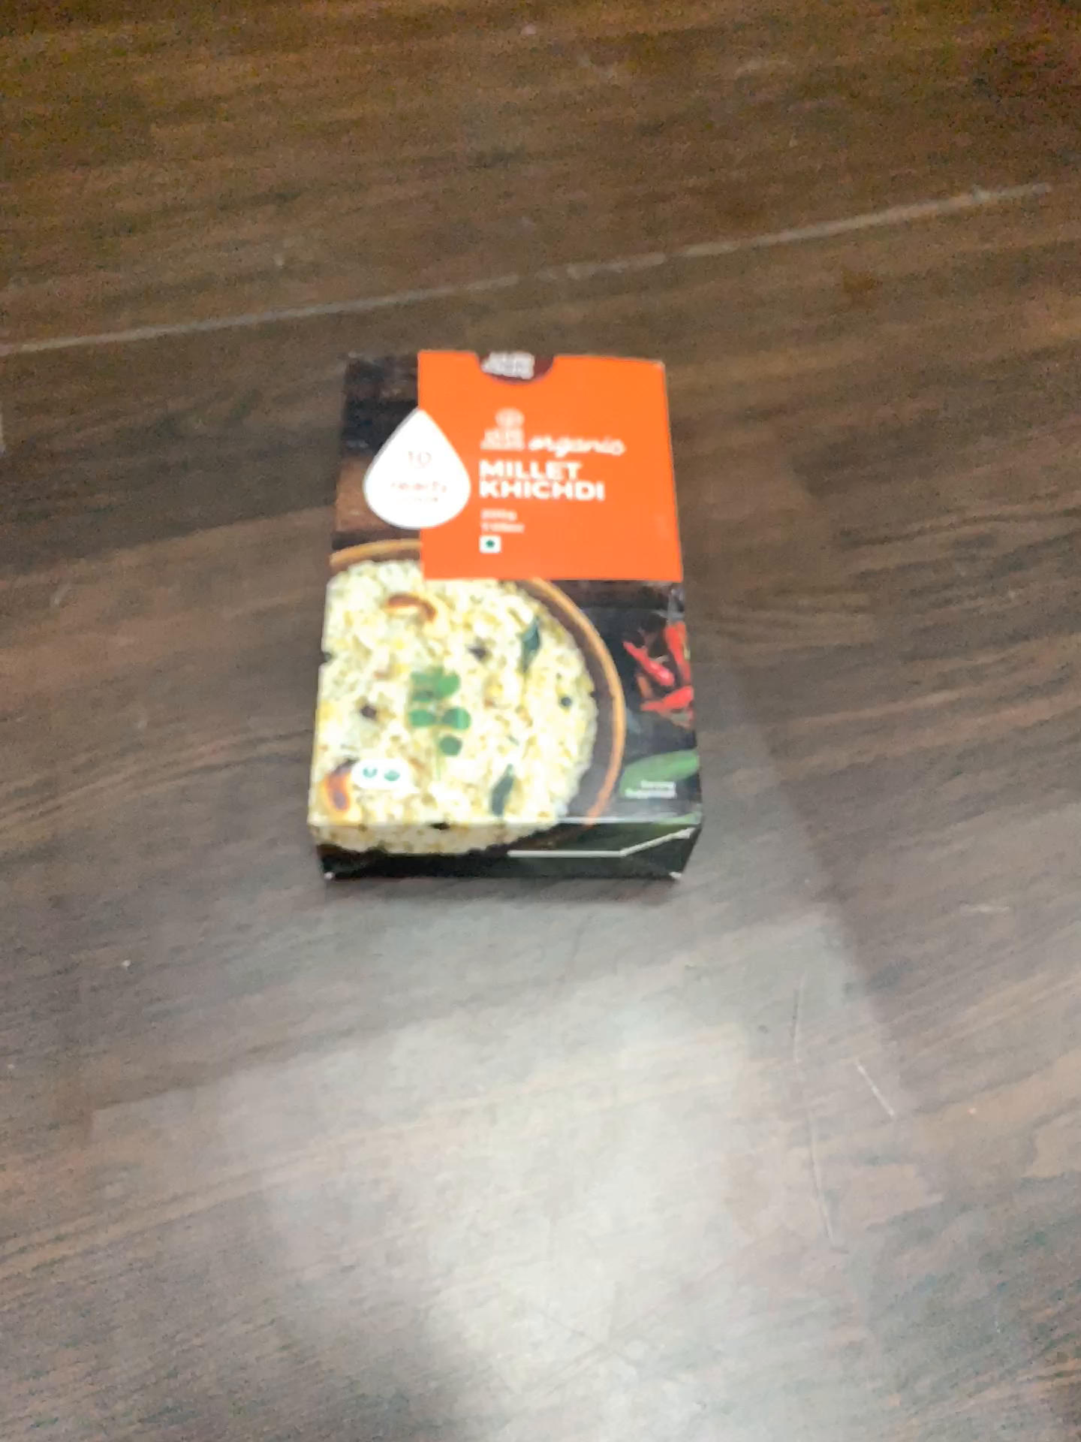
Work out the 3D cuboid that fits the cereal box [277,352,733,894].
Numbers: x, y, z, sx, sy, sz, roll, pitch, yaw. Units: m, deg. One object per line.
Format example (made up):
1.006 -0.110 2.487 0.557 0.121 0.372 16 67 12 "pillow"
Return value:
-0.009 -0.034 0.331 0.110 0.040 0.160 1 60 -2 "cereal box"
